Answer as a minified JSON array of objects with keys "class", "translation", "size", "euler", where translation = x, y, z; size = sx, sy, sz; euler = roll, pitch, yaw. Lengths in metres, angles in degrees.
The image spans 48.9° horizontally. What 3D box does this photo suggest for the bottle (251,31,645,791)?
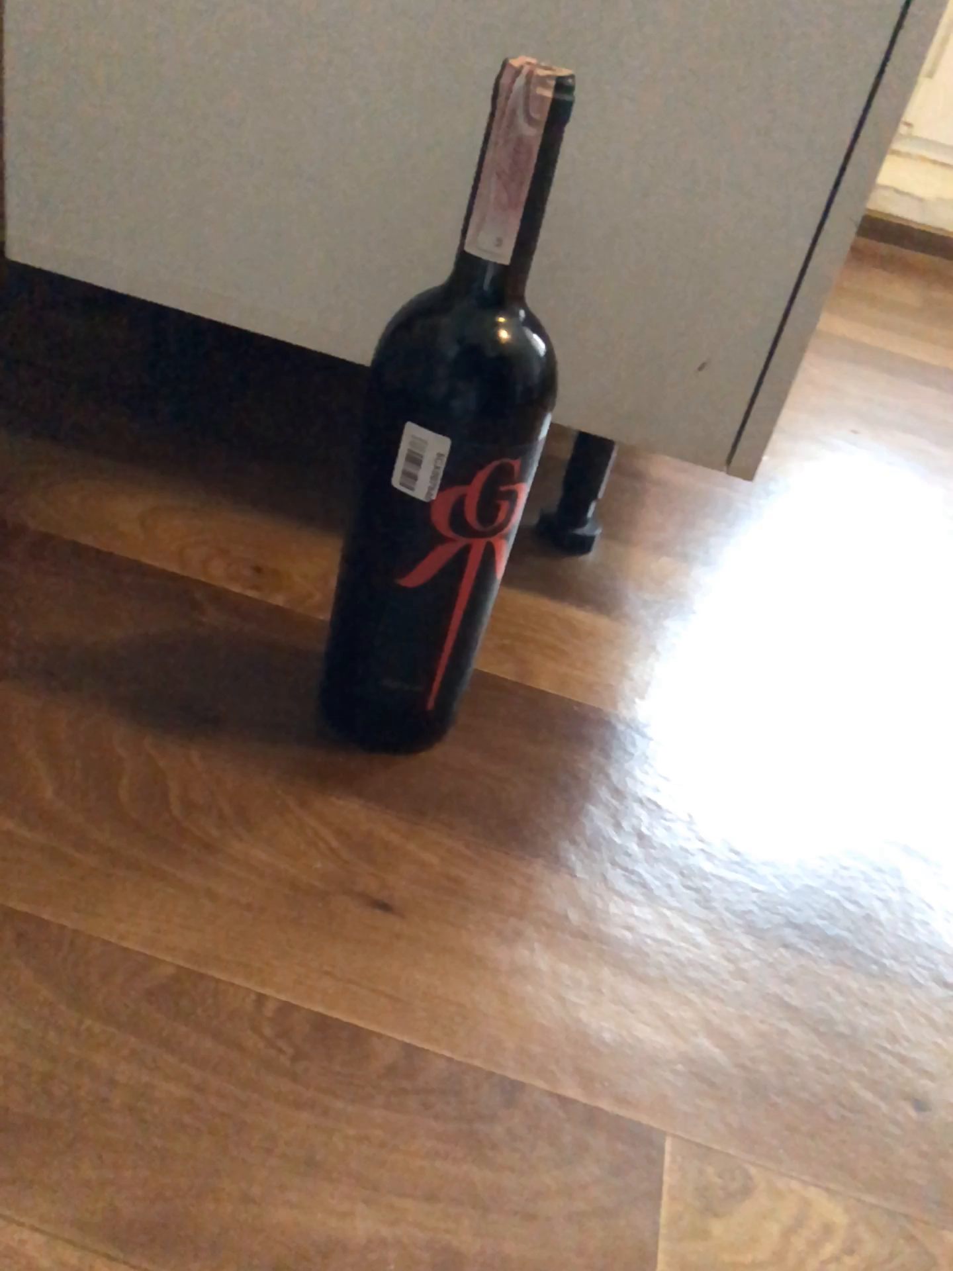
[{"class":"bottle","translation":[-0.021,-0.084,0.456],"size":[0.090,0.297,0.091],"euler":[11,33,-7]}]
